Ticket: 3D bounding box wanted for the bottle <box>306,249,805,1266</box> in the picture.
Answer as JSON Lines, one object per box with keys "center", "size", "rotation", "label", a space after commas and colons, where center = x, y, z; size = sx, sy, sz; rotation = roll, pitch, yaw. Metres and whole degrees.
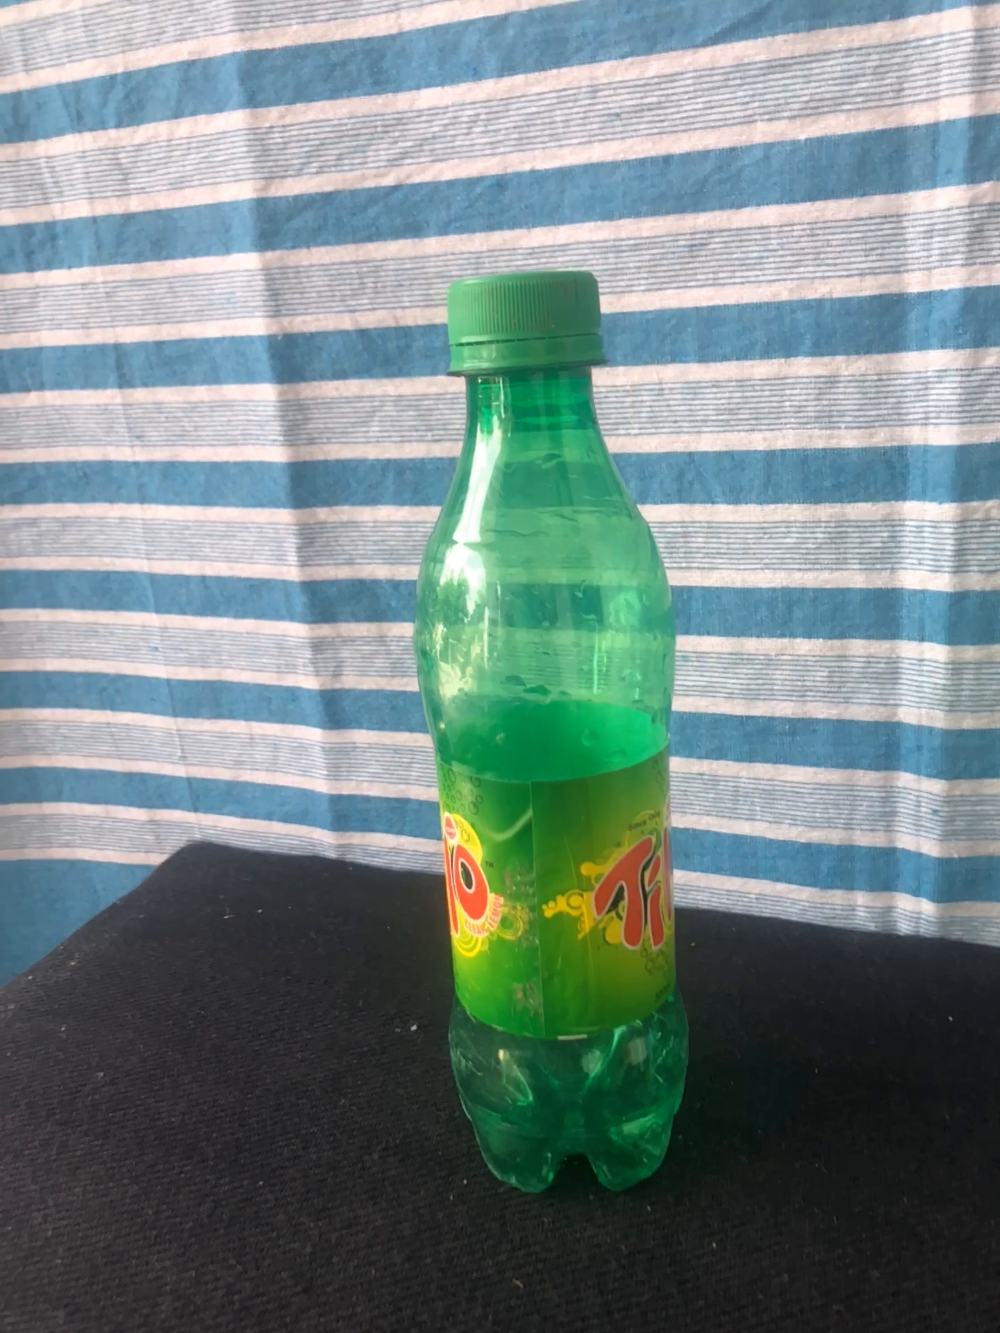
{"center": [0.011, 0.015, 0.247], "size": [0.070, 0.199, 0.070], "rotation": [-1, 18, 0], "label": "bottle"}
